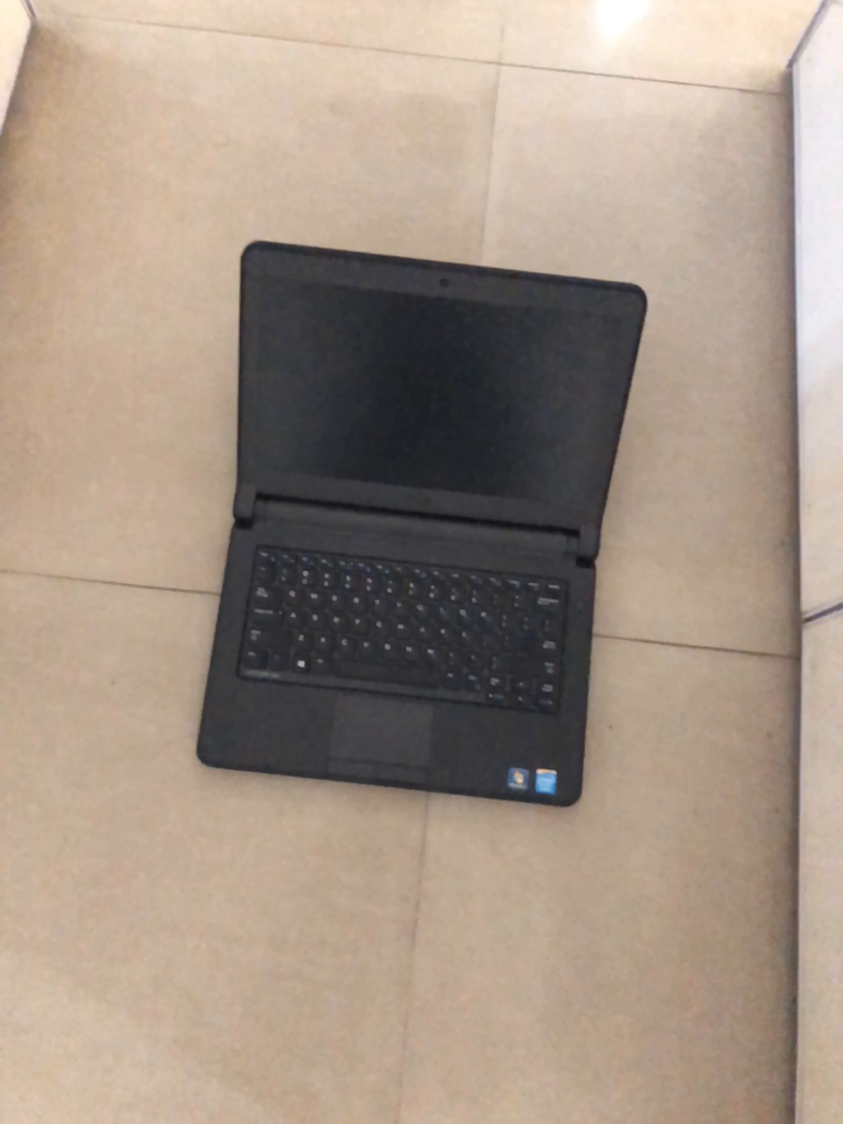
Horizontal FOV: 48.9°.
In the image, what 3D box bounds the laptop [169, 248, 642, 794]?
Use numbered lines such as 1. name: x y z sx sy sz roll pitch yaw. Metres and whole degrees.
1. laptop: -0.003 -0.026 0.765 0.312 0.154 0.392 6 76 -1
